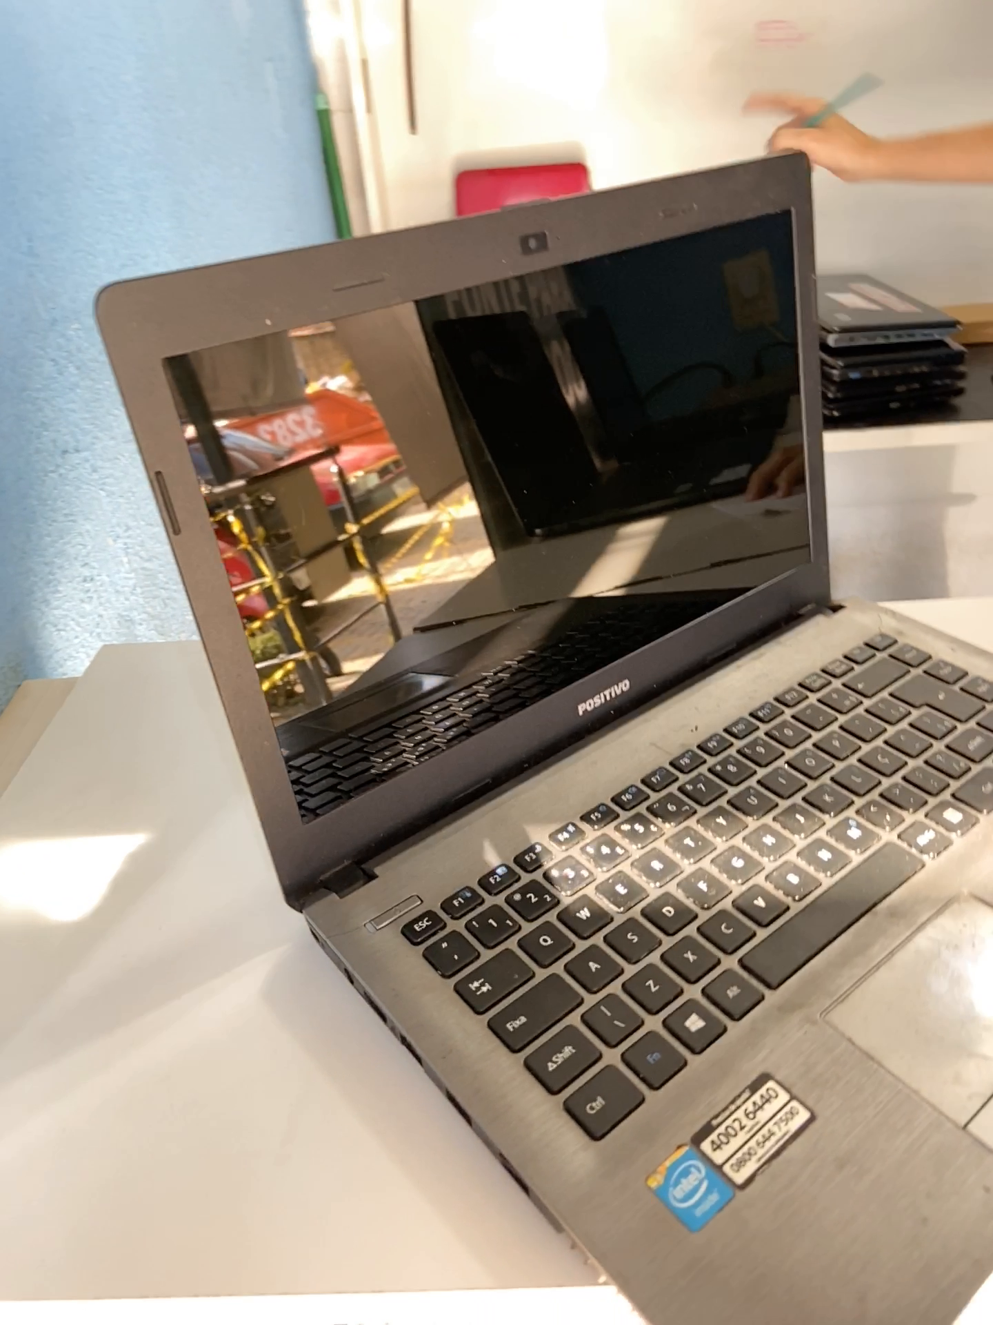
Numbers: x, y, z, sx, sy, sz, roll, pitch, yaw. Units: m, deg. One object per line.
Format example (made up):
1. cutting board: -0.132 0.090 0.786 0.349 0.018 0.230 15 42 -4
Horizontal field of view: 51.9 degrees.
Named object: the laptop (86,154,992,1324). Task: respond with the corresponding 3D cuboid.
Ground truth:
1. laptop: 0.104 -0.028 0.351 0.335 0.211 0.283 -25 37 -30
